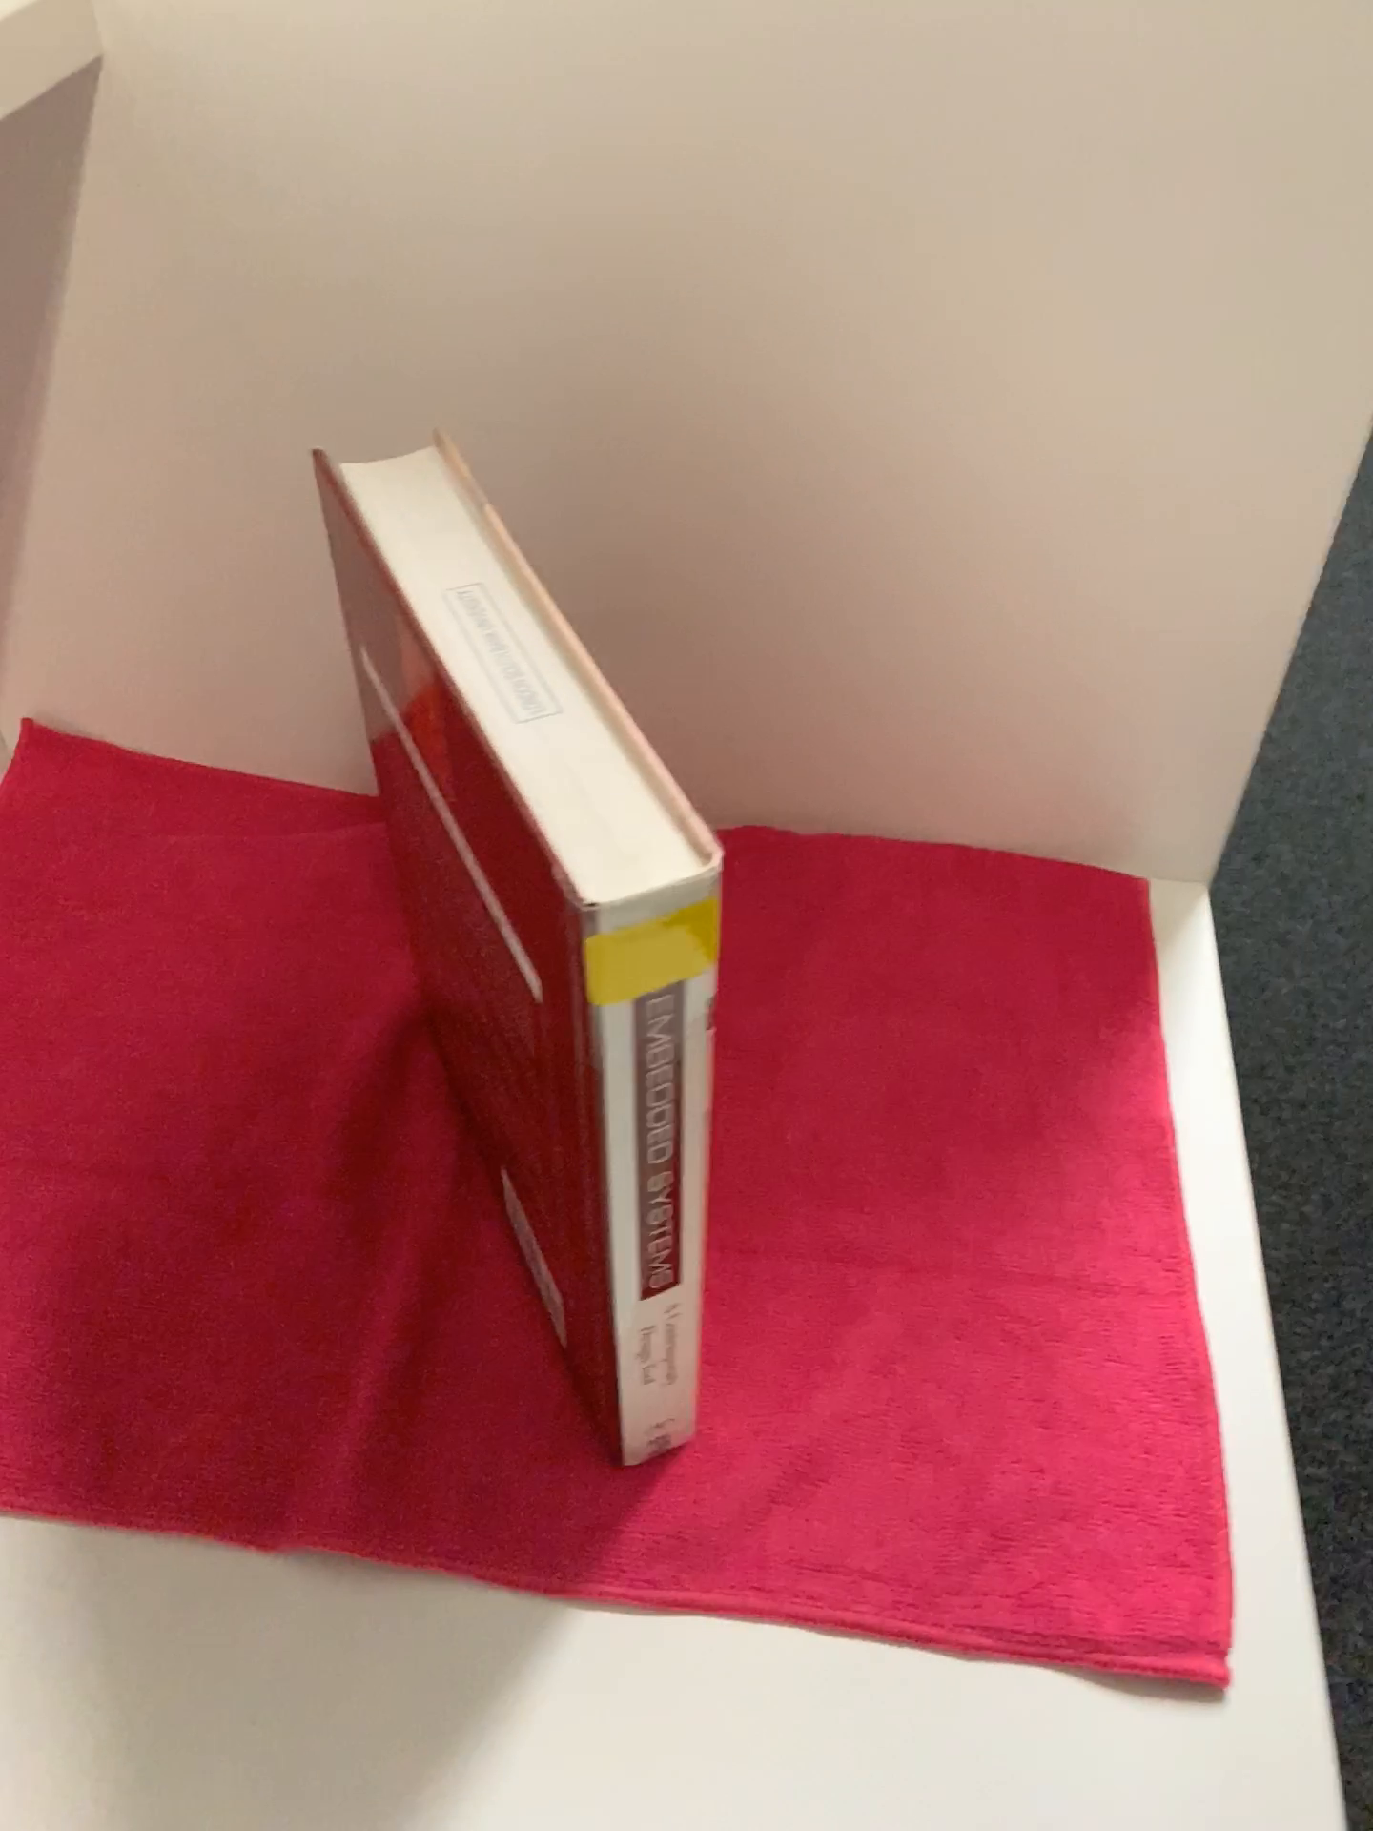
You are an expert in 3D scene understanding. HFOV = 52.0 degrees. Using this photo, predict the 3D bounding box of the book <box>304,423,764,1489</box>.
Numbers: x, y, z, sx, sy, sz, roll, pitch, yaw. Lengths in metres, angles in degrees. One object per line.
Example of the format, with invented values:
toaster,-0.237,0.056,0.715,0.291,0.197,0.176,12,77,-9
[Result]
book,-0.048,0.019,0.439,0.044,0.258,0.213,-18,48,-17
